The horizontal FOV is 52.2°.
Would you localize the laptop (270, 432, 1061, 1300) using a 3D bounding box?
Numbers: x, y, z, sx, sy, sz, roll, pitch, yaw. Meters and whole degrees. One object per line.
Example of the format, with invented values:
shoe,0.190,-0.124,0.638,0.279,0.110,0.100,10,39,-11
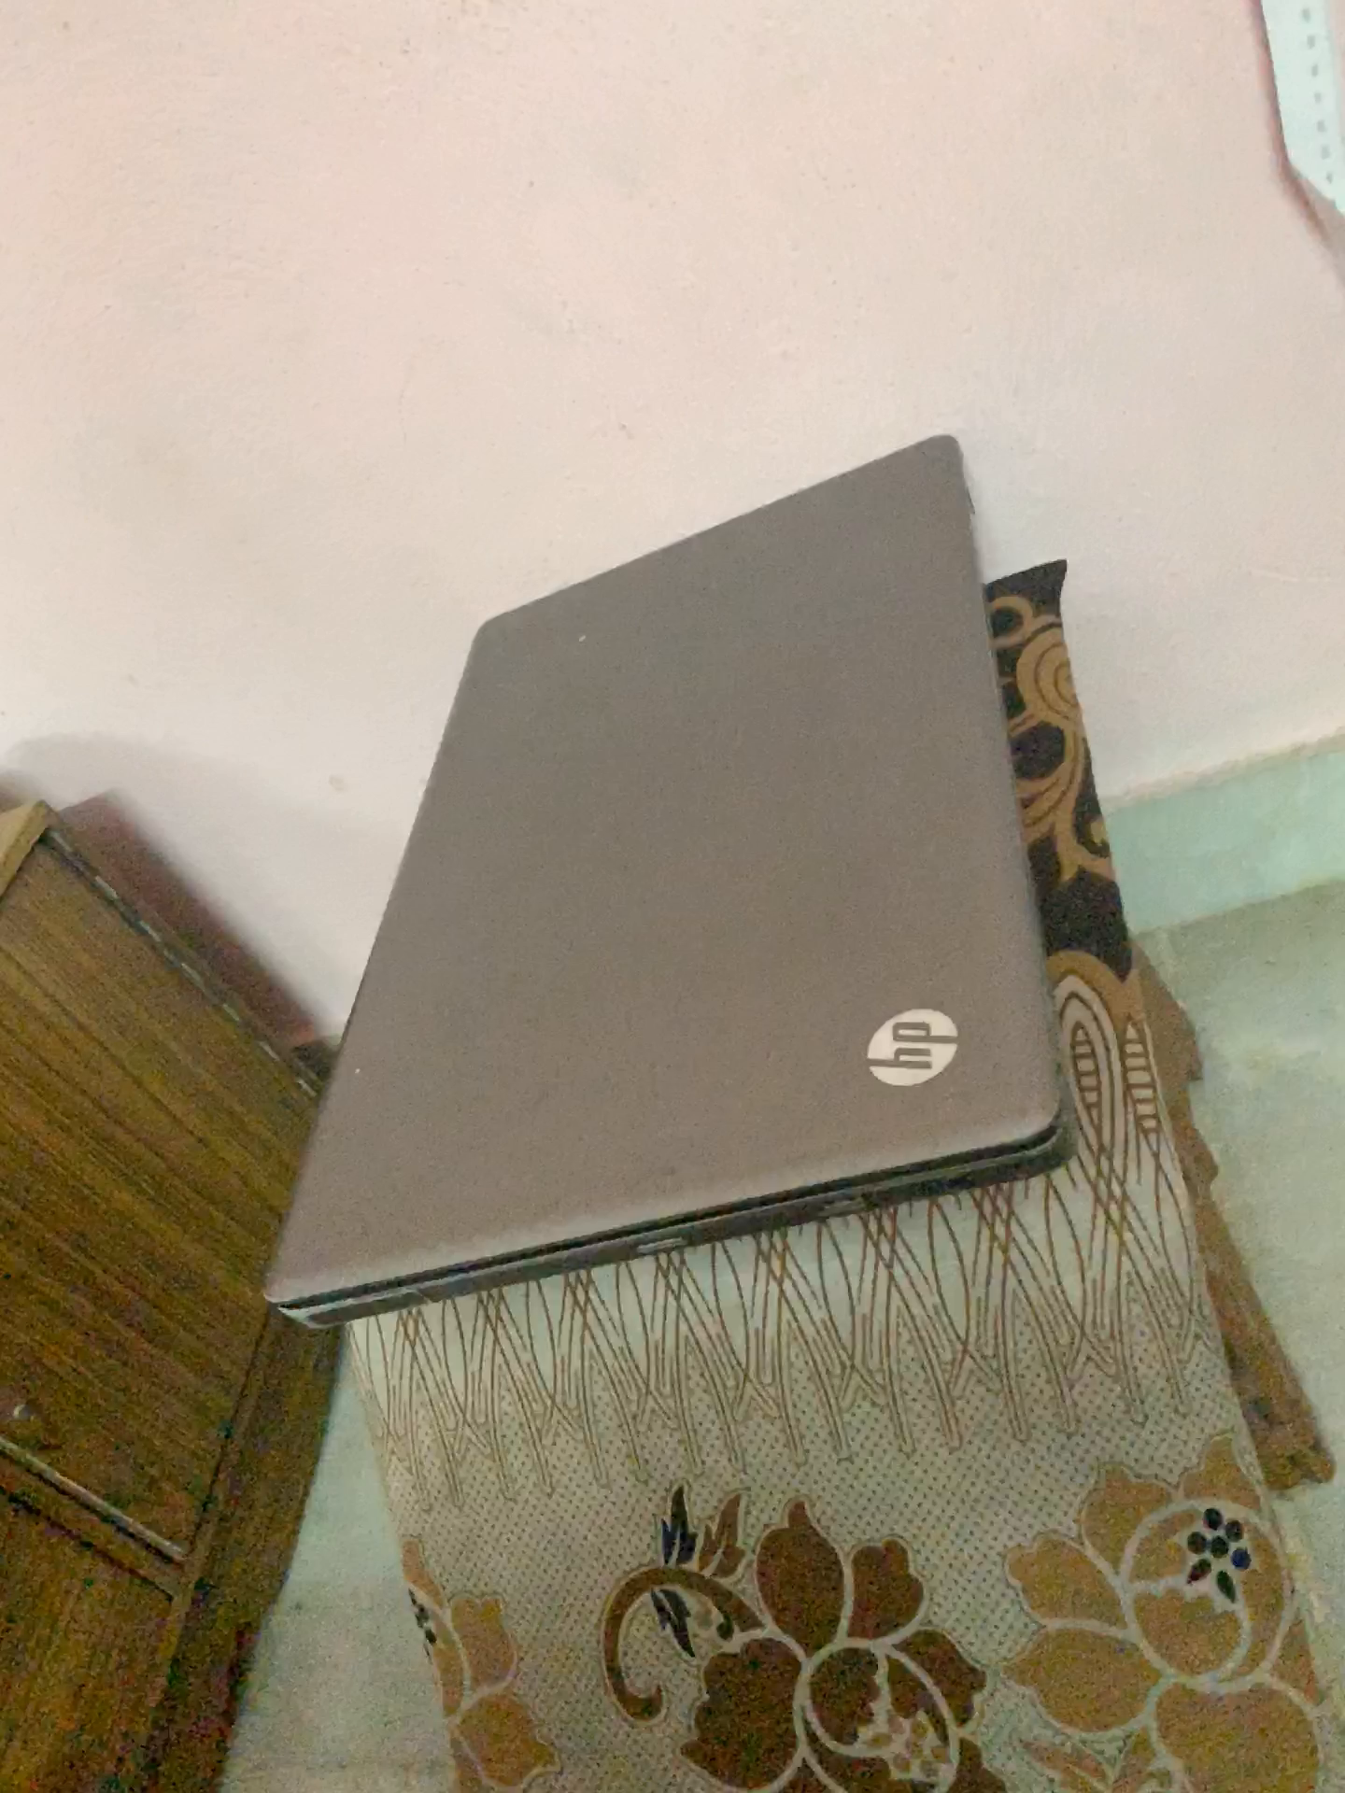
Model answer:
laptop,-0.001,-0.040,0.523,0.249,0.002,0.381,-17,40,21
